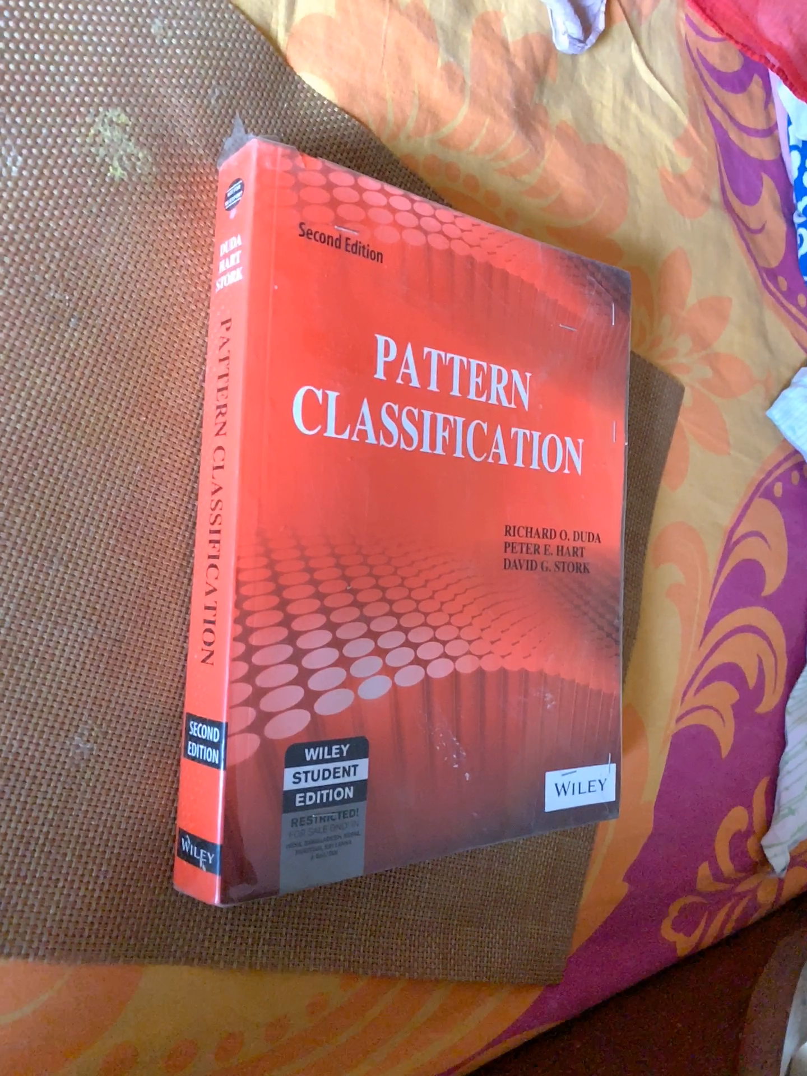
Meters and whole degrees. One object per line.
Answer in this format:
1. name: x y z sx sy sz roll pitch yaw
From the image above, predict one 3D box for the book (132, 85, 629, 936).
1. book: 0.006 -0.004 0.297 0.181 0.040 0.230 5 85 -39
